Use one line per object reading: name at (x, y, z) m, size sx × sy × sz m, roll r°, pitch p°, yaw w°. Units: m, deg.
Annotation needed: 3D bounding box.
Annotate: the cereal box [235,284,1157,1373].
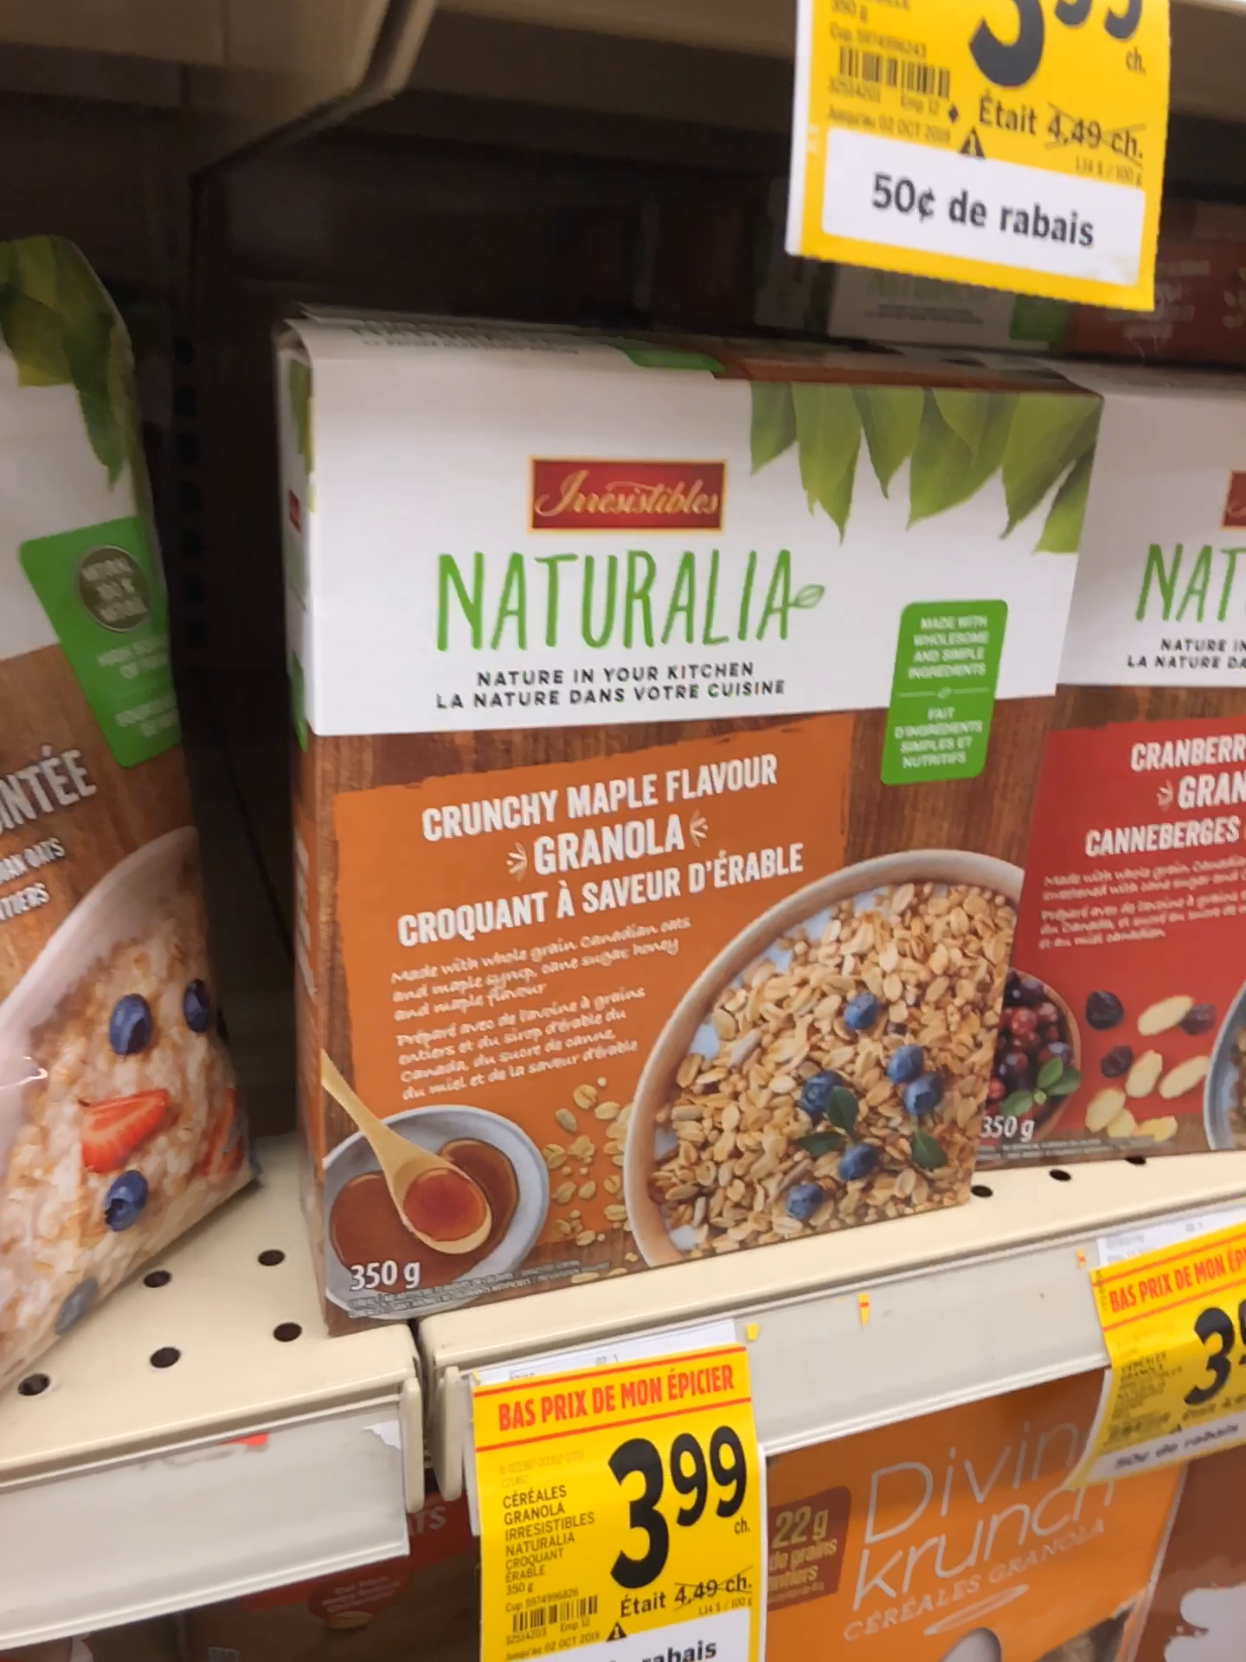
cereal box at (0.009, 0.000, 0.301) m, size 0.170 × 0.209 × 0.050 m, roll -4°, pitch 23°, yaw -21°
